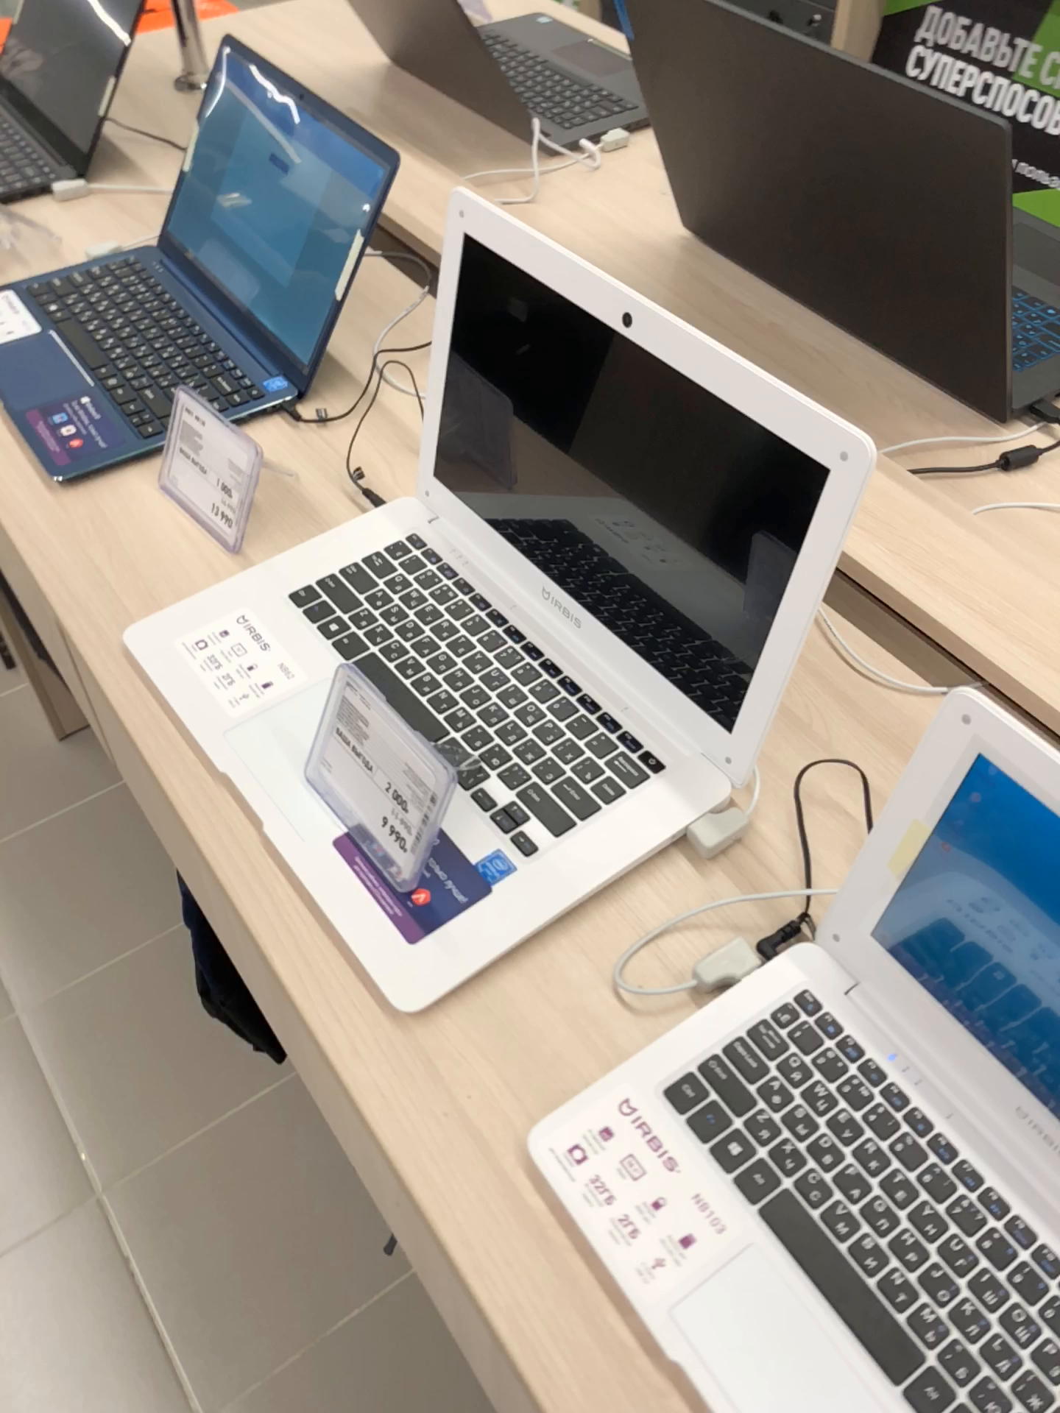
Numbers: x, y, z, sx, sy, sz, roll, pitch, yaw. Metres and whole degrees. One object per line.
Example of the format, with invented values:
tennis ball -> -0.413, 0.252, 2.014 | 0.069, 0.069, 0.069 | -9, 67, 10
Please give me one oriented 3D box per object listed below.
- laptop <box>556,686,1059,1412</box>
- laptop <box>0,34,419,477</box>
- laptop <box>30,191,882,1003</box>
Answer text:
laptop -> 0.171, 0.174, 0.434 | 0.221, 0.167, 0.260 | -27, 51, -22
laptop -> -0.307, -0.386, 0.952 | 0.311, 0.158, 0.299 | -28, 54, -22
laptop -> -0.049, -0.085, 0.648 | 0.279, 0.207, 0.334 | -30, 54, -23
